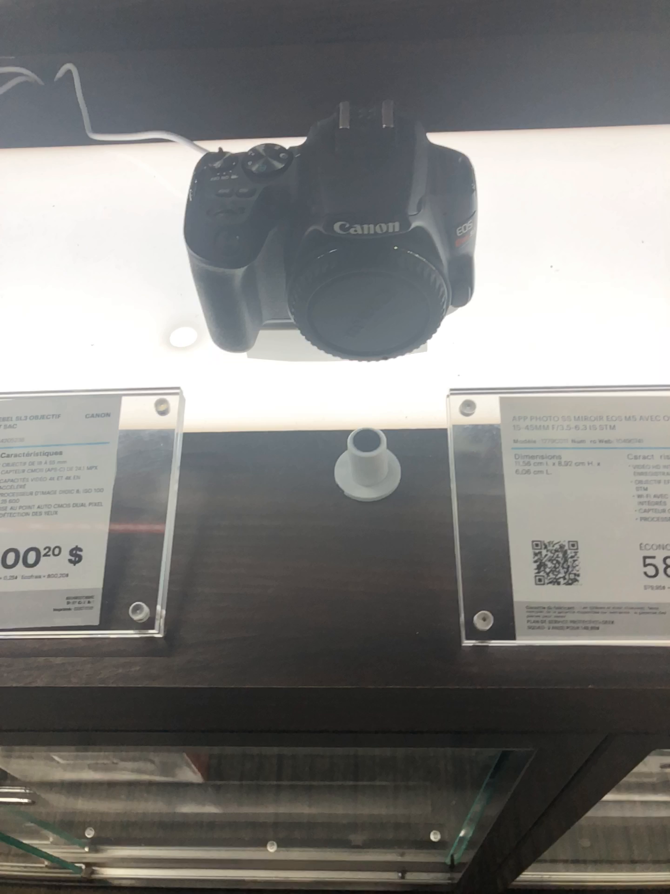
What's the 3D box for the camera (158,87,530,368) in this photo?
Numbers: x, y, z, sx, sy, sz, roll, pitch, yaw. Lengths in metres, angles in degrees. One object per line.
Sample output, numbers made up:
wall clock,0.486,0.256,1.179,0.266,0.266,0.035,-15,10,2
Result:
camera,0.005,-0.086,0.298,0.123,0.071,0.081,-1,53,3
